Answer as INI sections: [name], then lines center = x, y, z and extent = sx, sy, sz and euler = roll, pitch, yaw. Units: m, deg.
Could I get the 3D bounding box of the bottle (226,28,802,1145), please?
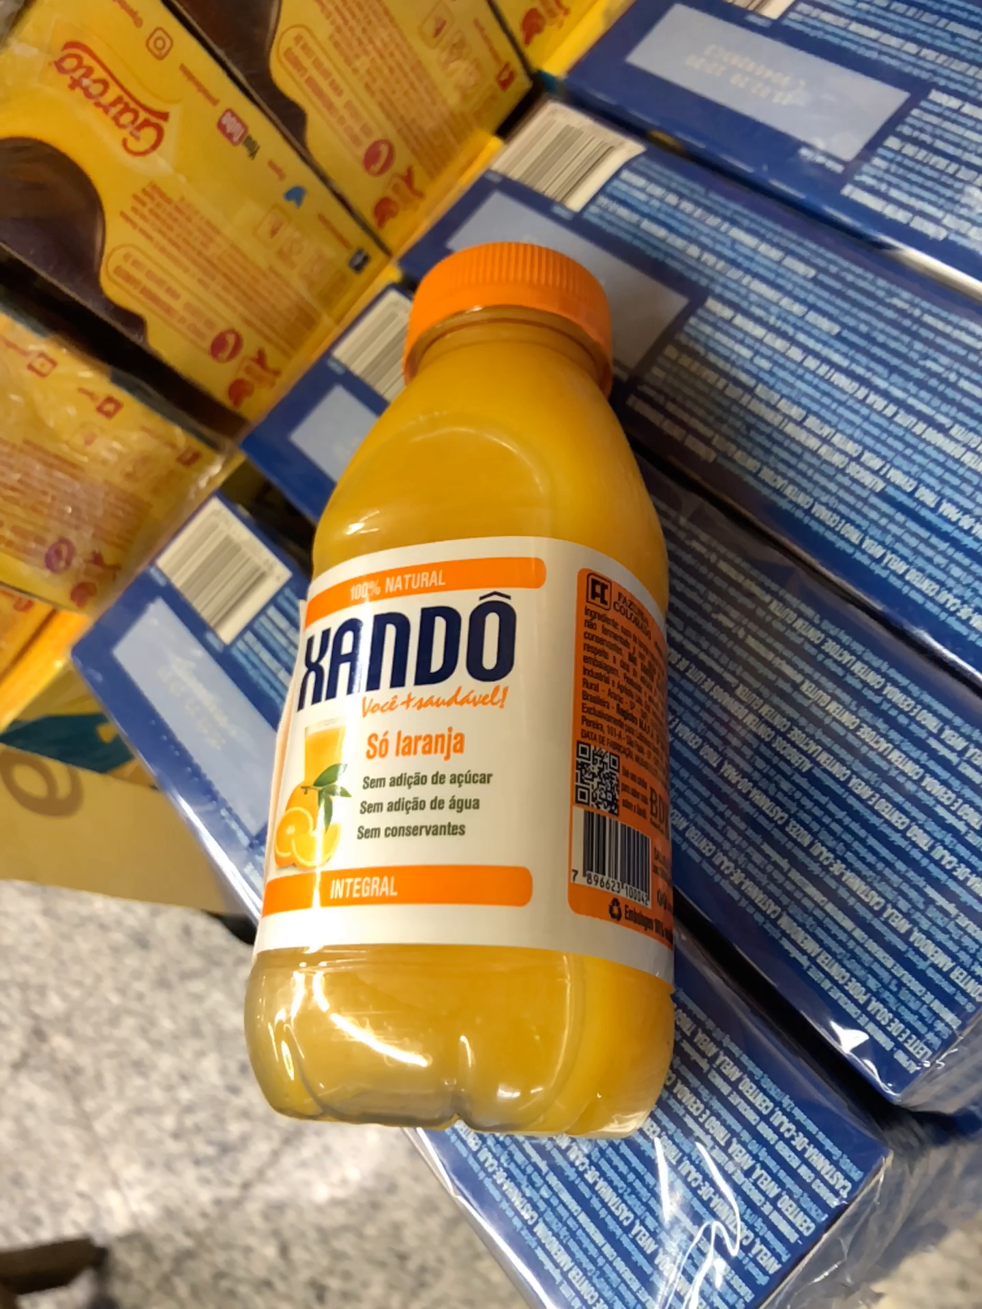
[bottle]
center = 0.011, -0.008, 0.199
extent = 0.060, 0.080, 0.170
euler = -9, 67, 24
